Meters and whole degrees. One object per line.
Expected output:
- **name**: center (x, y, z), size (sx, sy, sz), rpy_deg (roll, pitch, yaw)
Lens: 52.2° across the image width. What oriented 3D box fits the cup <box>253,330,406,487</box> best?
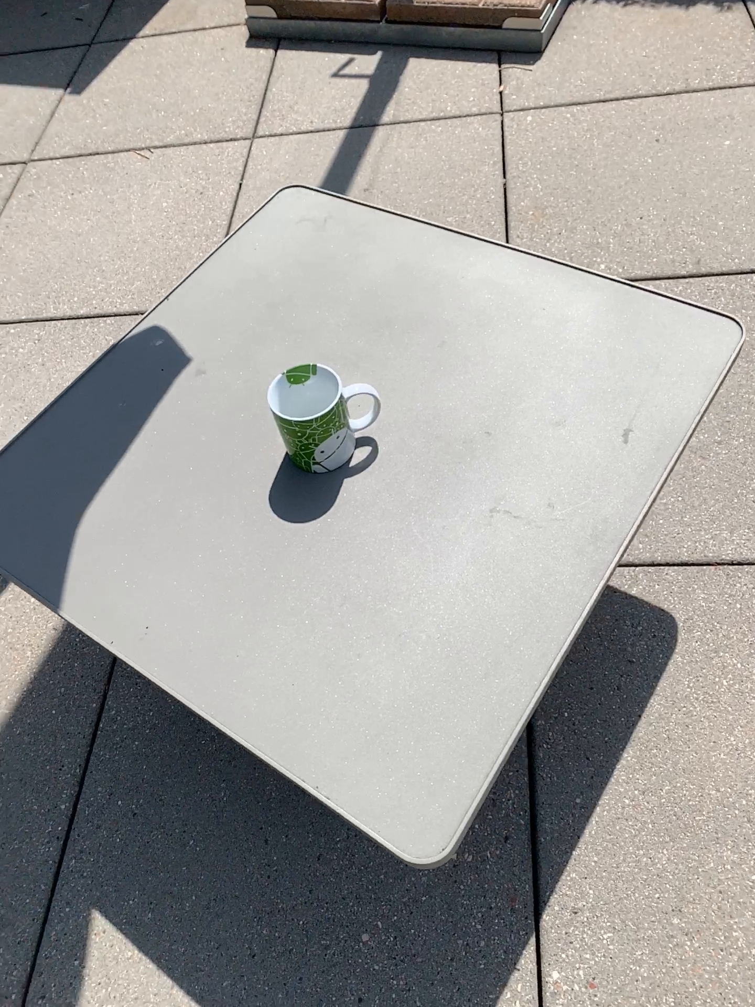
- **cup**: center (-0.049, -0.100, 0.813), size (0.120, 0.090, 0.090), rpy_deg (-25, 55, -7)
